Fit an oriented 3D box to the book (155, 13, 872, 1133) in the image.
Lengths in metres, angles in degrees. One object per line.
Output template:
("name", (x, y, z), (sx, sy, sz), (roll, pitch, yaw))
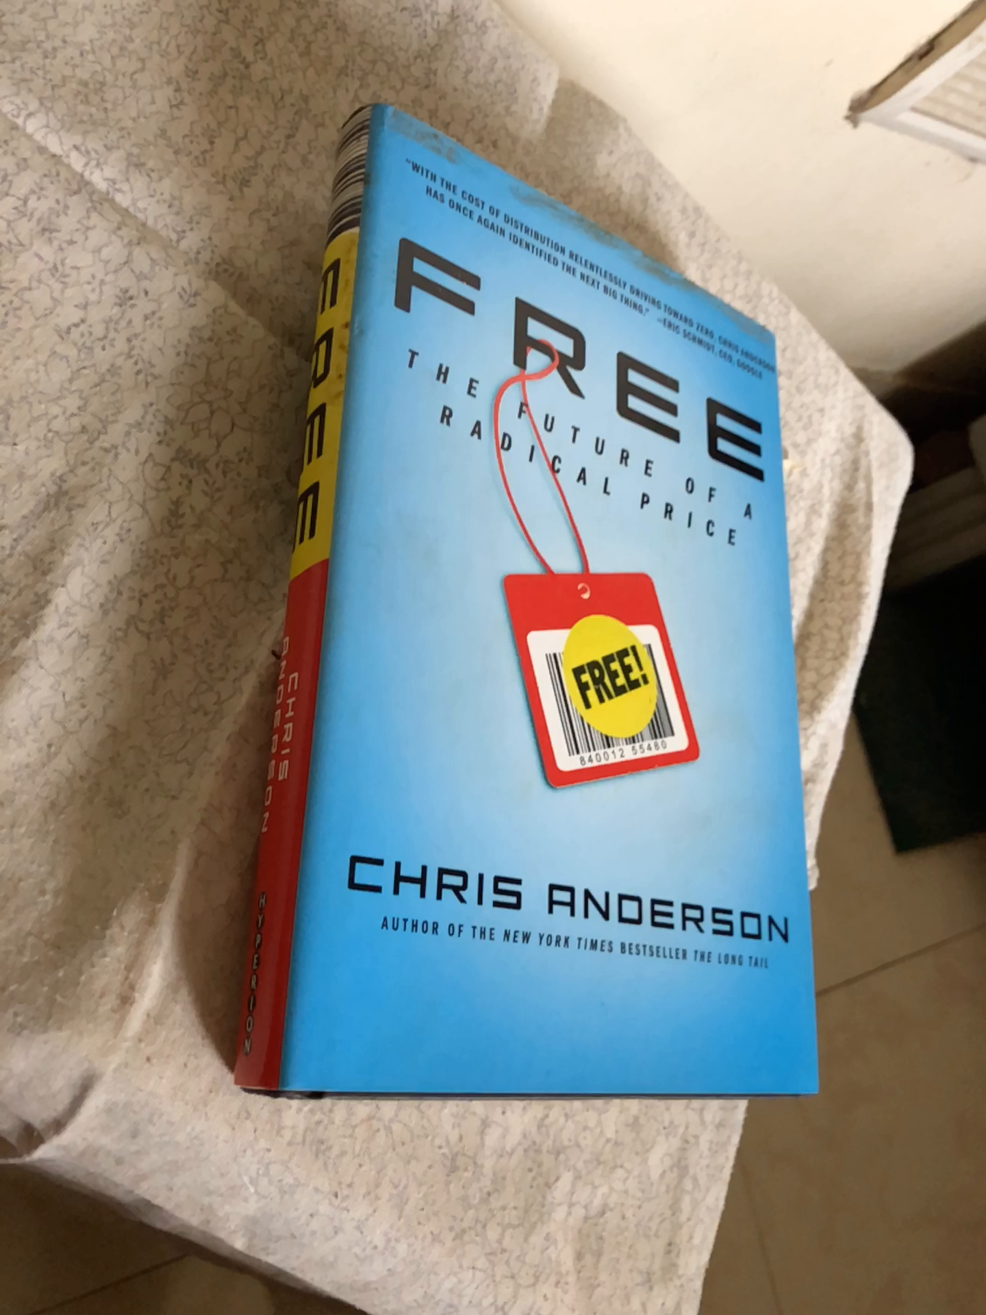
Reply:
("book", (0.017, -0.020, 0.312), (0.181, 0.040, 0.280), (14, 65, -32))
